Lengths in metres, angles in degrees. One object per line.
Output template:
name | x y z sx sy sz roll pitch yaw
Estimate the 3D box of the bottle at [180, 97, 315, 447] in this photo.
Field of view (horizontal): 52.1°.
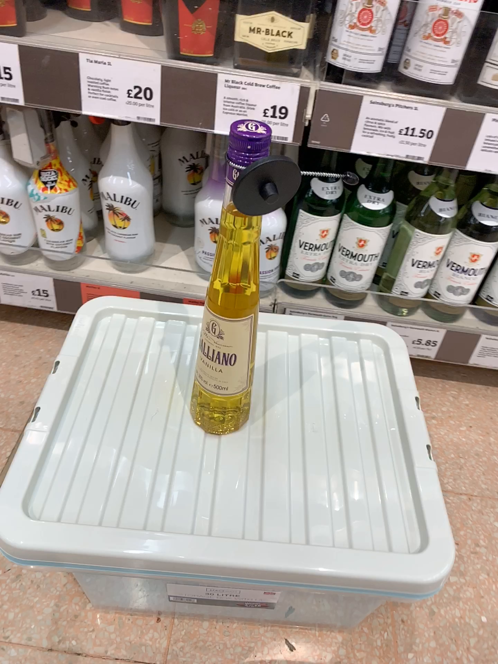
bottle | -0.016 -0.028 0.491 0.072 0.347 0.071 4 44 -4
